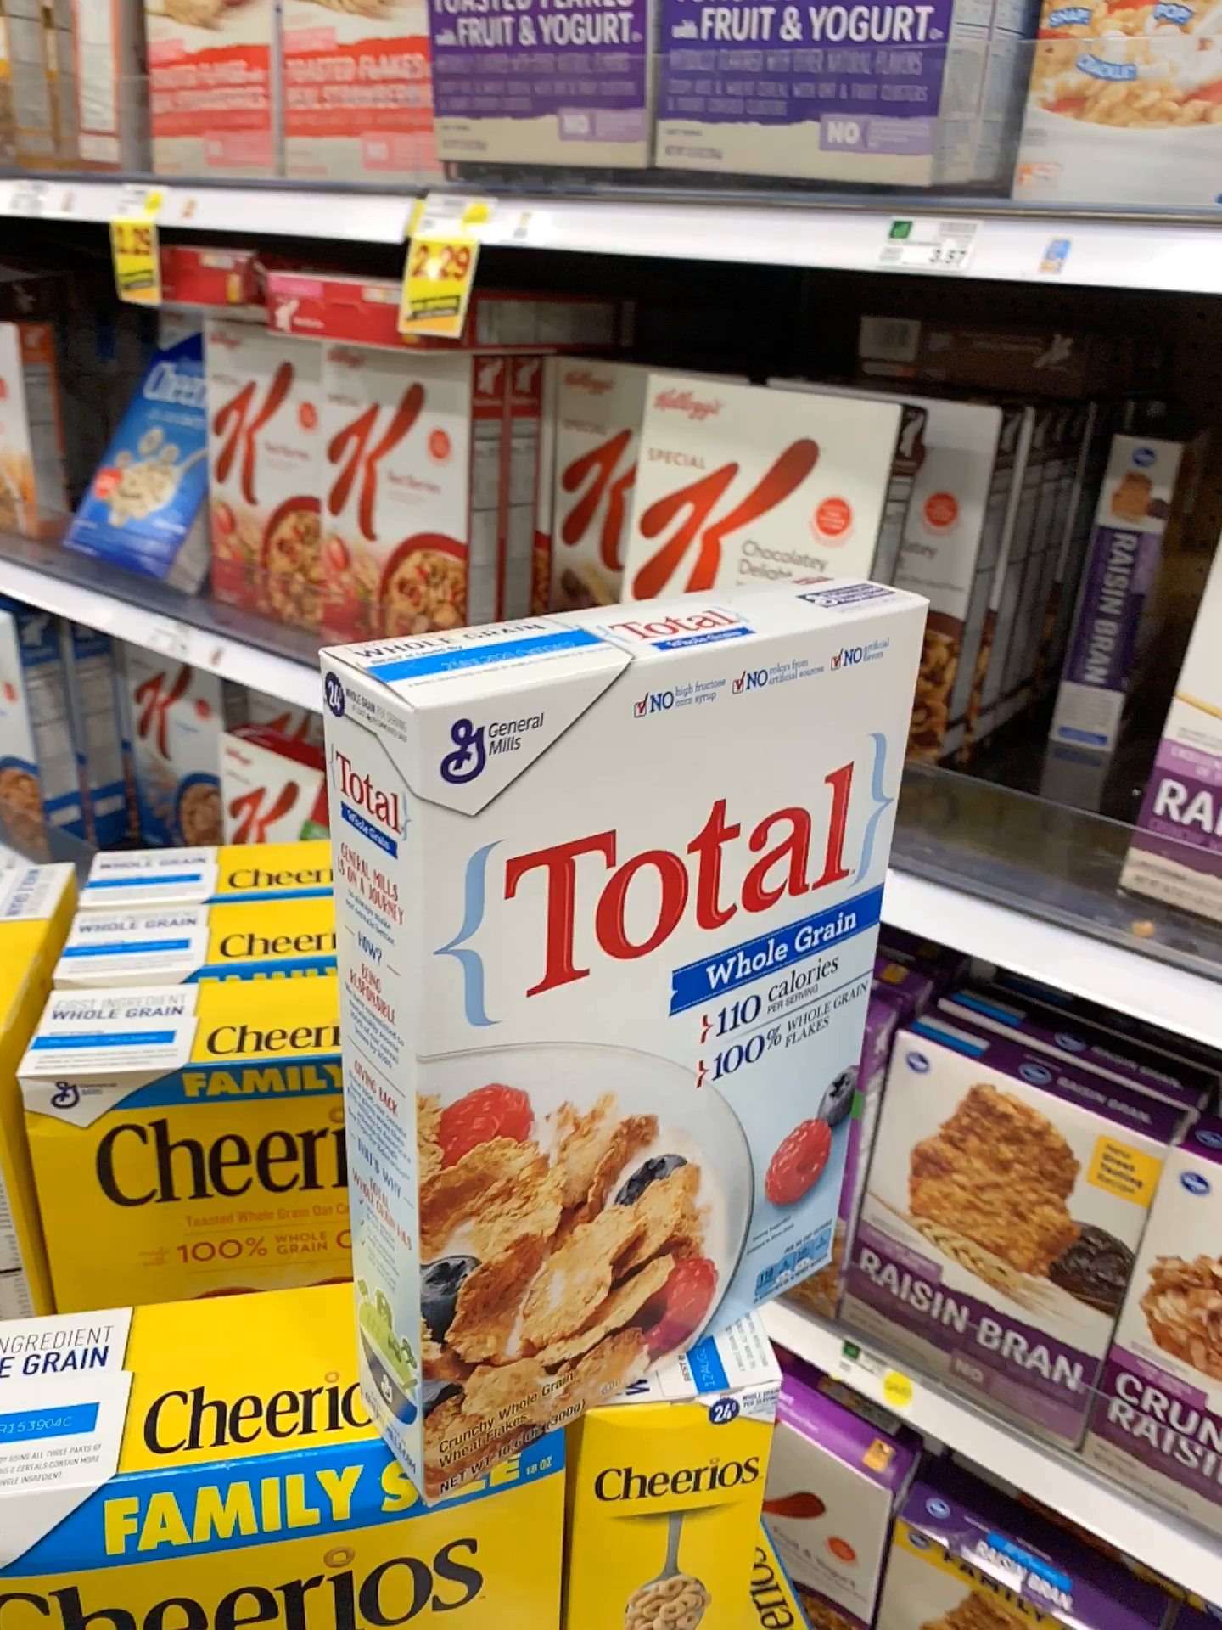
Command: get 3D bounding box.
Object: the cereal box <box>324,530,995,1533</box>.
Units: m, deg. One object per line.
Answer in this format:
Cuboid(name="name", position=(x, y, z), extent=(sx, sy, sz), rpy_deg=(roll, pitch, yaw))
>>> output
Cuboid(name="cereal box", position=(0.018, 0.068, 0.430), extent=(0.210, 0.299, 0.050), rpy_deg=(-16, 31, -34))
